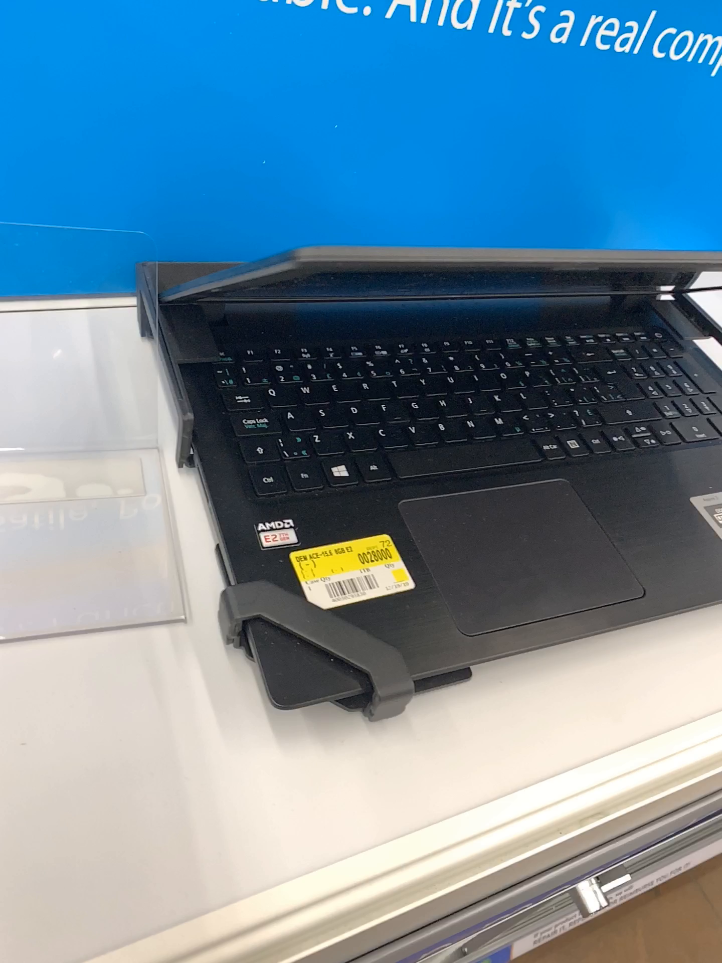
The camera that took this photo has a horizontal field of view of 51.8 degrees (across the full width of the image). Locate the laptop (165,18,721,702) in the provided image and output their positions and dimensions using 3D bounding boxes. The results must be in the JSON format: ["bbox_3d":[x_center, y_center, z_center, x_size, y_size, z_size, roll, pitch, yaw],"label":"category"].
[{"bbox_3d":[0.112,-0.071,0.363,0.364,0.137,0.222,-7,54,-25],"label":"laptop"}]
